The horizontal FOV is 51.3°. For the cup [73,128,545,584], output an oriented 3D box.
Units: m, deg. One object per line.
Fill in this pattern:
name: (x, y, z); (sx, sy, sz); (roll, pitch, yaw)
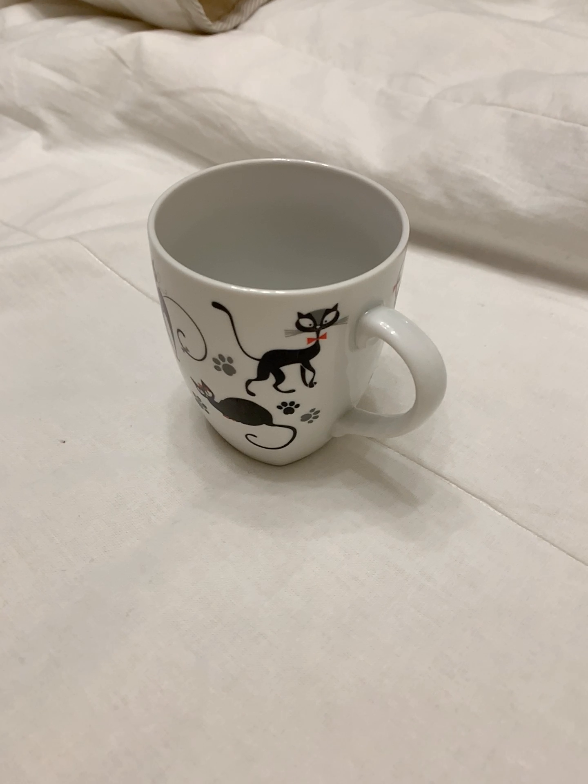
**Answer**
cup: (-0.001, -0.021, 0.204); (0.081, 0.077, 0.119); (-29, 50, -25)
